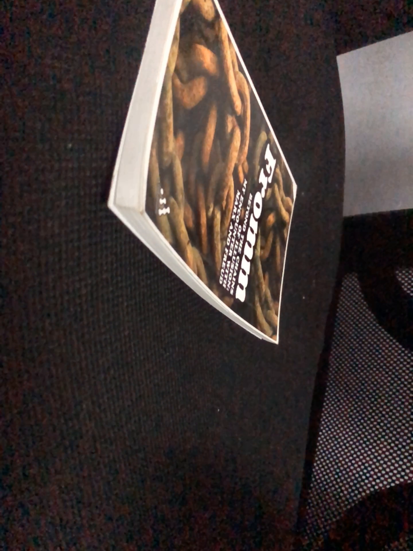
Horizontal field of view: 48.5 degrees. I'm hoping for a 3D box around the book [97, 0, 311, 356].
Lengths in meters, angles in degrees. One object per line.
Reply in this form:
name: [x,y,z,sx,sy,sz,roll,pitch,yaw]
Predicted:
book: [0.023,-0.049,0.255,0.196,0.016,0.144,42,51,-55]
